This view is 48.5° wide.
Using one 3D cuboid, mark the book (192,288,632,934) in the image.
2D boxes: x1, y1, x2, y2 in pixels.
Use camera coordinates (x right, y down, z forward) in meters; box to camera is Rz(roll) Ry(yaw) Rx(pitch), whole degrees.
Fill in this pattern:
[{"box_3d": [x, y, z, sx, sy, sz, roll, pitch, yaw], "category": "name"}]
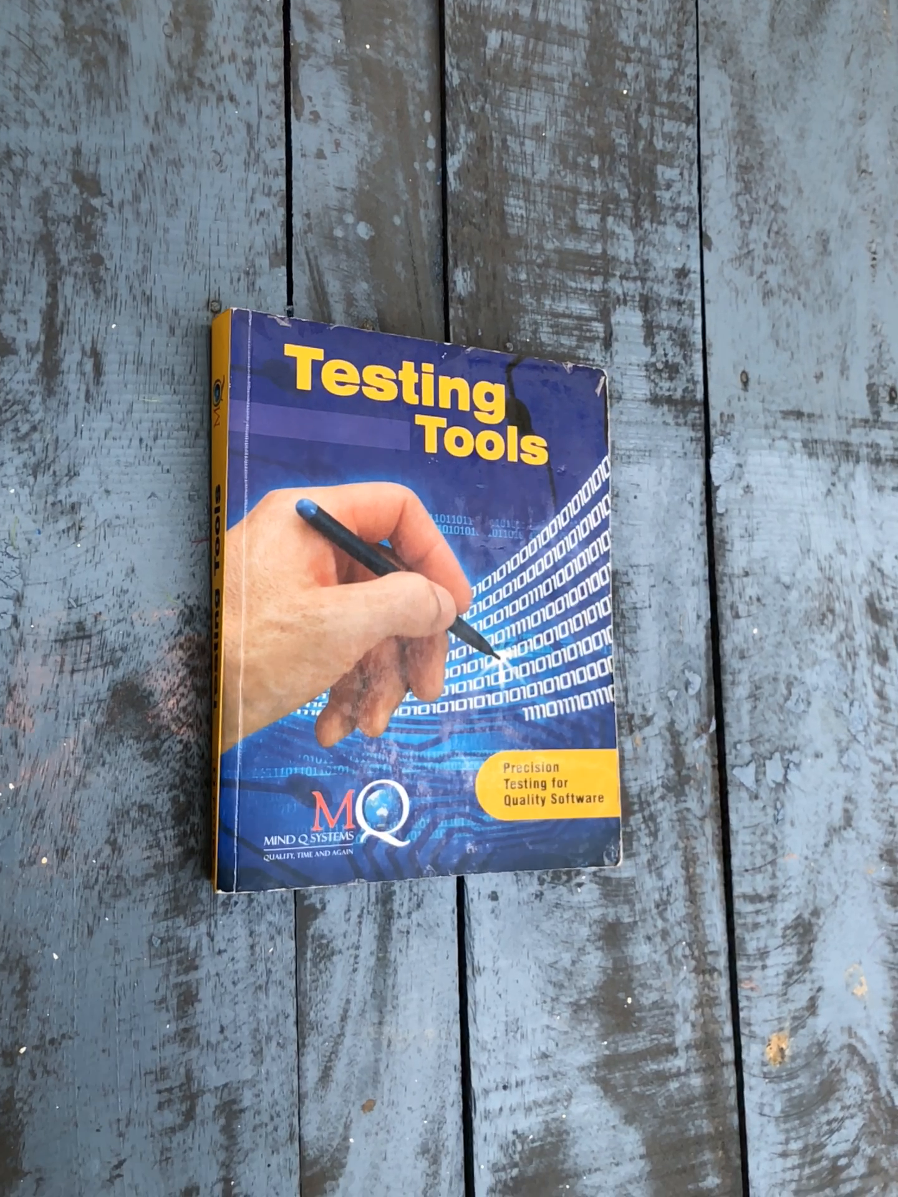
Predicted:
[{"box_3d": [-0.016, 0.006, 0.459, 0.190, 0.050, 0.260, 2, 82, -23], "category": "book"}]
